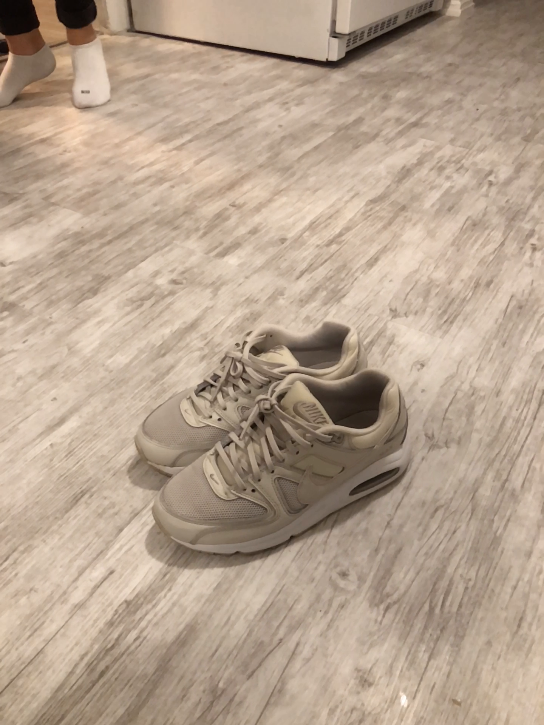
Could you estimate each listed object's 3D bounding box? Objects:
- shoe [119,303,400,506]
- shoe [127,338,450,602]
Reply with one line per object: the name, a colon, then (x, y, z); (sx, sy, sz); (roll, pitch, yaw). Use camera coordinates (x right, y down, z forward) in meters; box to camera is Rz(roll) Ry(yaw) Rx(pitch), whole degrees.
shoe: (-0.012, 0.038, 0.601); (0.250, 0.120, 0.090); (-13, 42, -14)
shoe: (0.016, 0.088, 0.533); (0.250, 0.120, 0.100); (-18, 44, -20)
